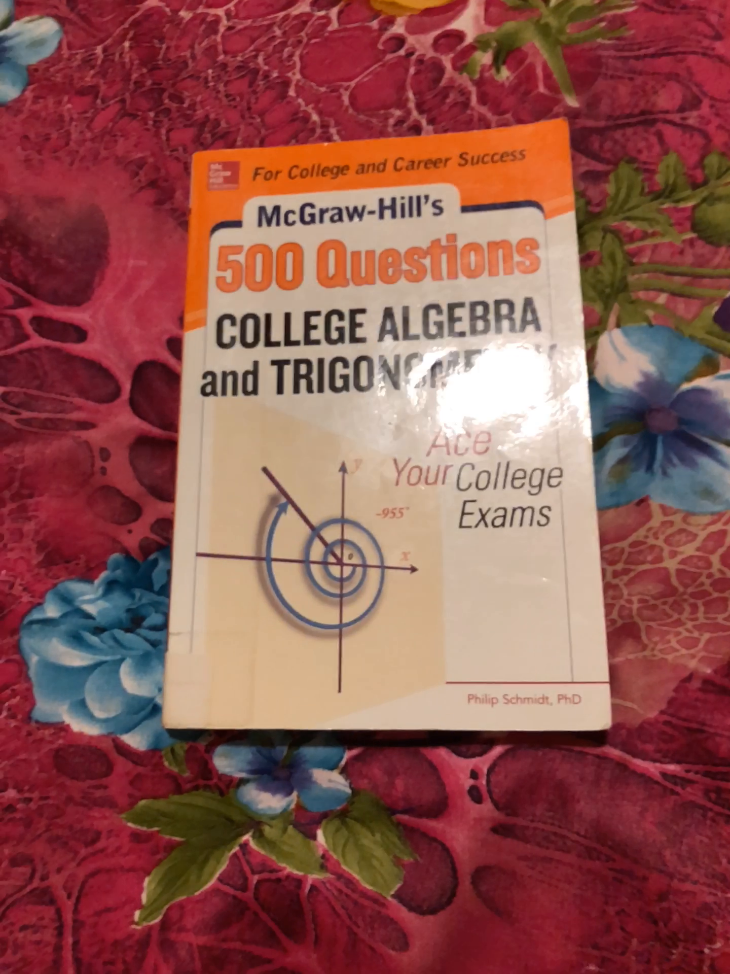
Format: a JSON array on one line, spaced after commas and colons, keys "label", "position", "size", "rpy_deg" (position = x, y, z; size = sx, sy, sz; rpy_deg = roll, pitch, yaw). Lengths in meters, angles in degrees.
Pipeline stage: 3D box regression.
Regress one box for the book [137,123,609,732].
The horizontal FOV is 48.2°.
[{"label": "book", "position": [0.001, -0.025, 0.302], "size": [0.156, 0.022, 0.220], "rpy_deg": [-1, 78, 6]}]
